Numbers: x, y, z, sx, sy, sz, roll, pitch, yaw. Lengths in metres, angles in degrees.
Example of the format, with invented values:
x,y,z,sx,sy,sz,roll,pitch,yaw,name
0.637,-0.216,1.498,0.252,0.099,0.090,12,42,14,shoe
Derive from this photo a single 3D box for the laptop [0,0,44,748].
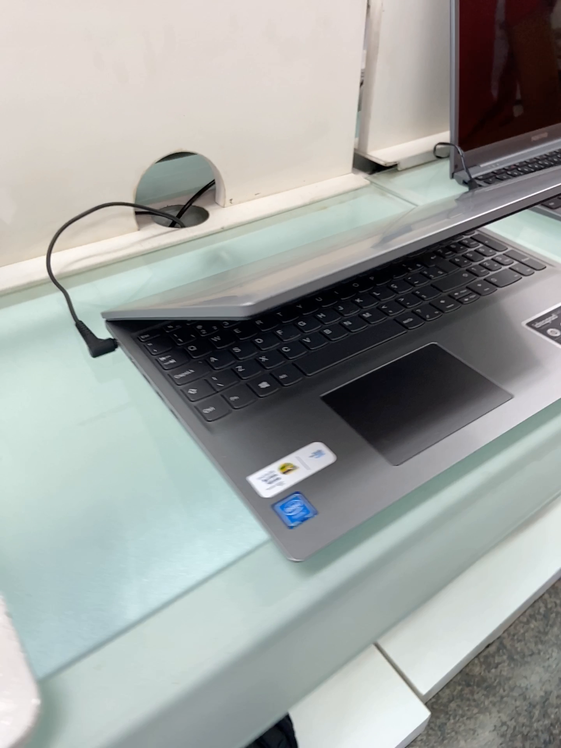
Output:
x,y,z,sx,sy,sz,roll,pitch,yaw,name
-0.362,0.027,0.195,0.411,0.202,0.384,-23,45,-25,laptop

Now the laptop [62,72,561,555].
x,y,z,sx,sy,sz,roll,pitch,yaw,name
0.084,-0.093,0.403,0.364,0.127,0.250,-24,45,-27,laptop
